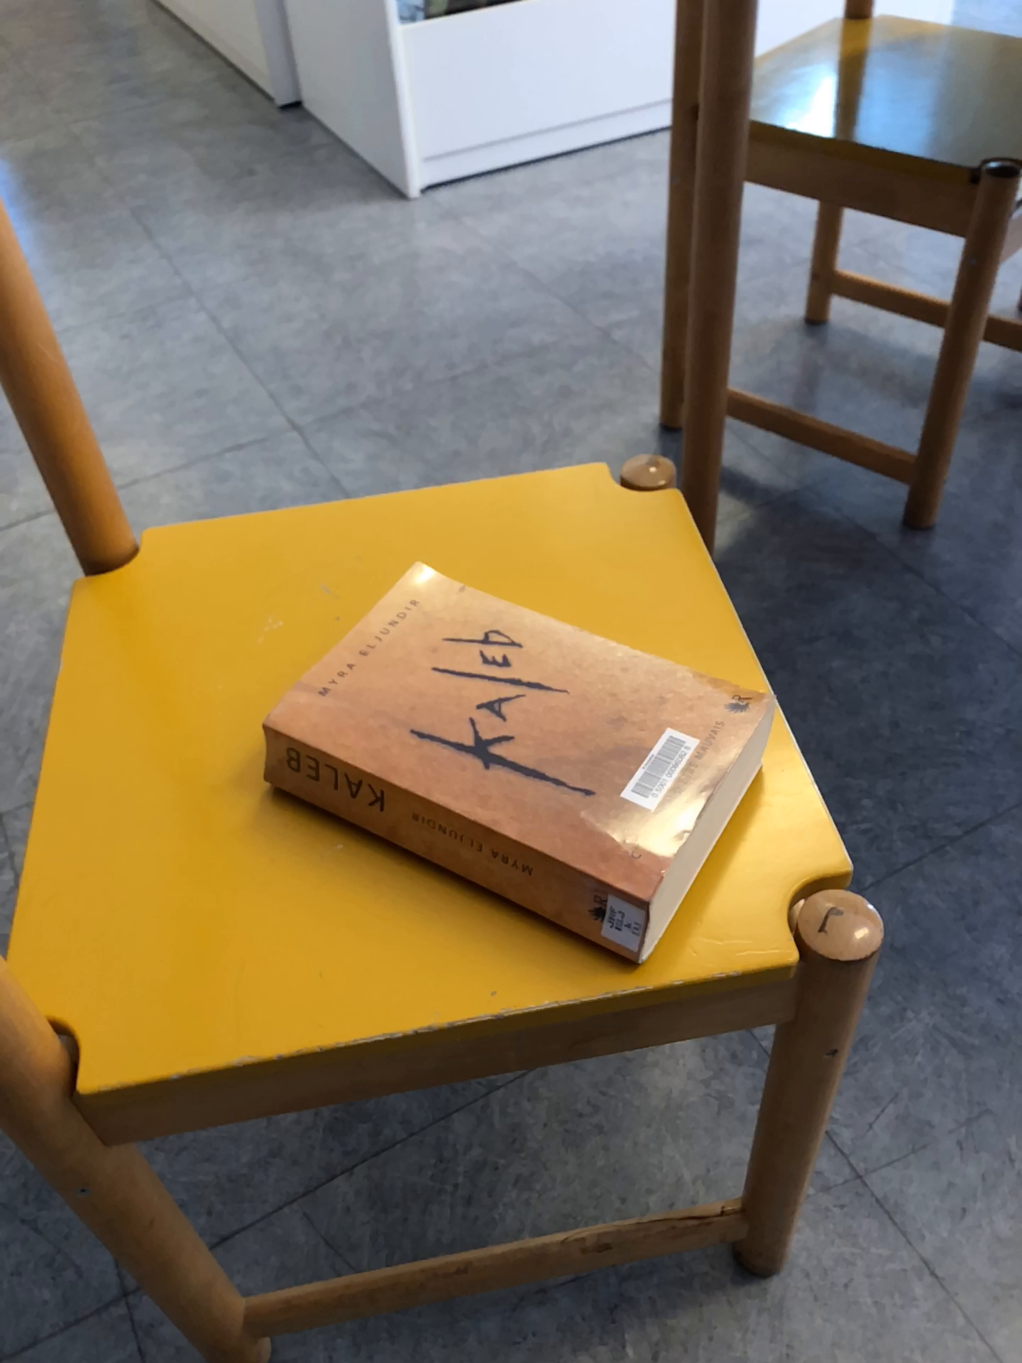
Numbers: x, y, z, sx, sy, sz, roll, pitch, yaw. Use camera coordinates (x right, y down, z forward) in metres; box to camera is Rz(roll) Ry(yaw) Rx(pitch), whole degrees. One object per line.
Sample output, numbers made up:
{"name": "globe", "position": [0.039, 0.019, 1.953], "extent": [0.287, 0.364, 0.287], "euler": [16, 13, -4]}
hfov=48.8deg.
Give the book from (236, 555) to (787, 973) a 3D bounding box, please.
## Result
{"name": "book", "position": [0.001, 0.027, 0.563], "extent": [0.223, 0.043, 0.150], "euler": [21, 50, 24]}
